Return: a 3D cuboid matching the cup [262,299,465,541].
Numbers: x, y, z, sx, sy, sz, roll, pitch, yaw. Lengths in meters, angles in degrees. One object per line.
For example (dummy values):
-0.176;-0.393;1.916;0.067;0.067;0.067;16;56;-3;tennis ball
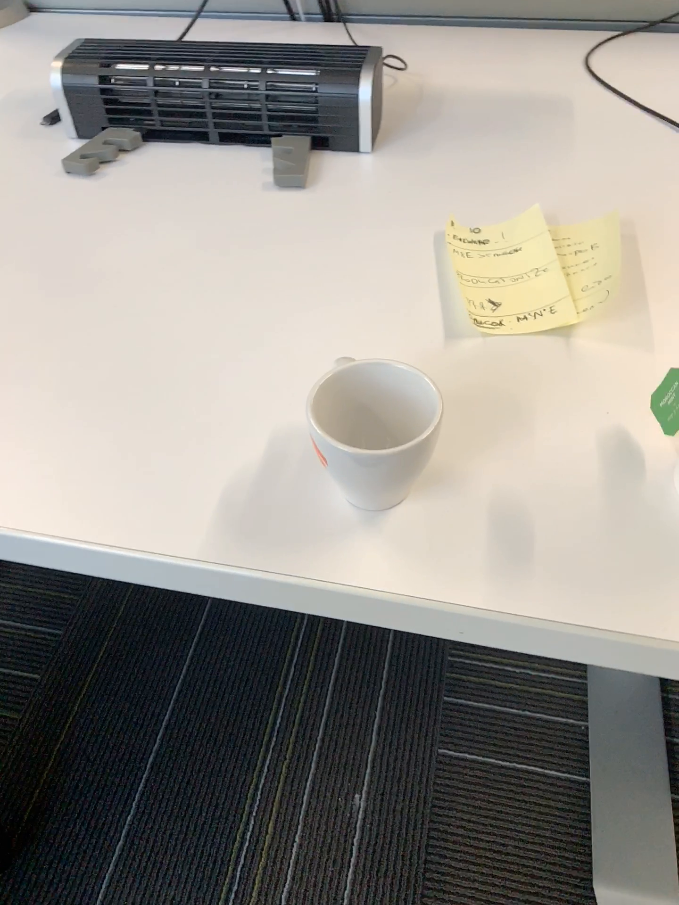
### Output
0.009;-0.020;0.366;0.070;0.060;0.101;-16;49;-11;cup
